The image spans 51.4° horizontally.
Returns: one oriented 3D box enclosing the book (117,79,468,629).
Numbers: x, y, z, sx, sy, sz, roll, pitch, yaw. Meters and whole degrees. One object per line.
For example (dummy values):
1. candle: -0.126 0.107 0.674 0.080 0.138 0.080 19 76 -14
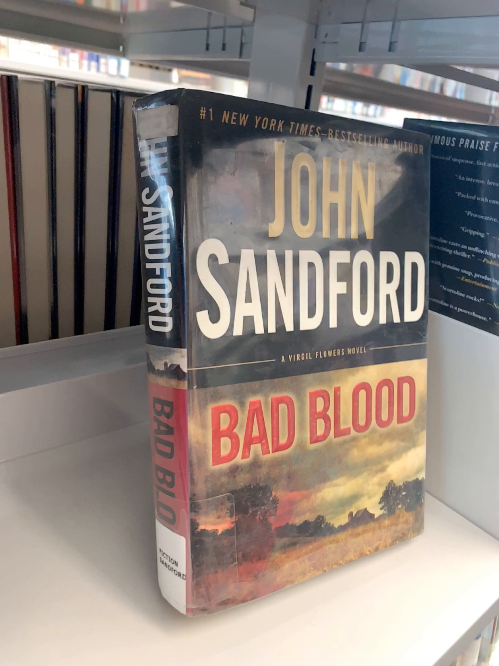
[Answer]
1. book: 0.027 0.006 0.261 0.165 0.215 0.050 -6 11 -29
